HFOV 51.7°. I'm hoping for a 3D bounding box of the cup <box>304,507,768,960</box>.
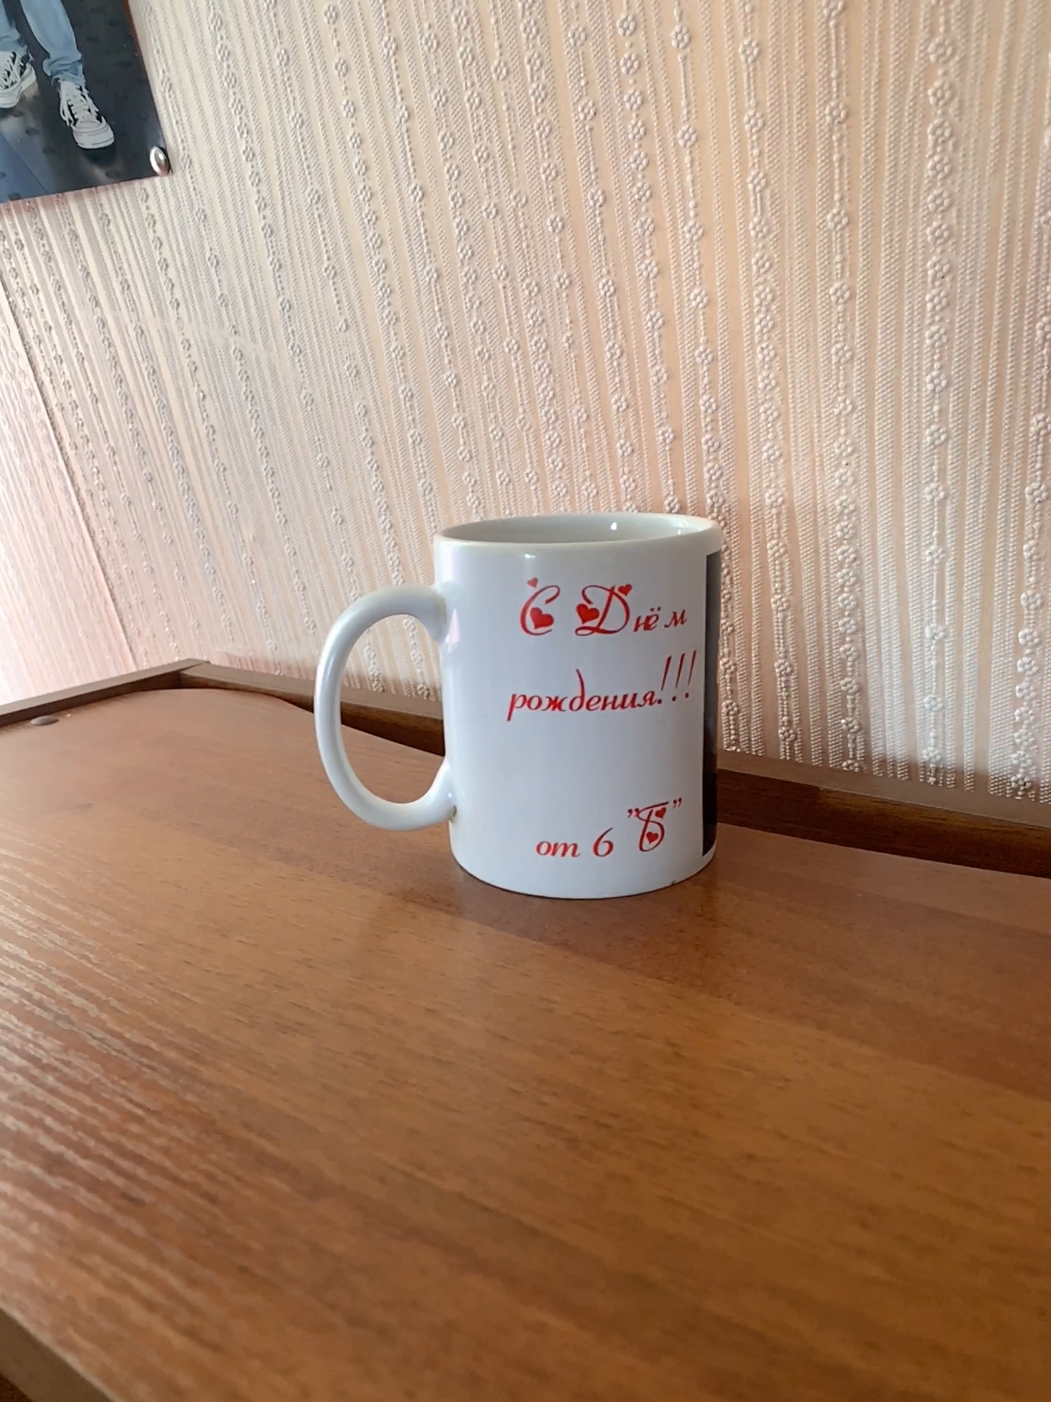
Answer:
[{"bbox_3d":[-0.002,0.002,0.319,0.117,0.106,0.082,-4,14,-11],"label":"cup"}]
